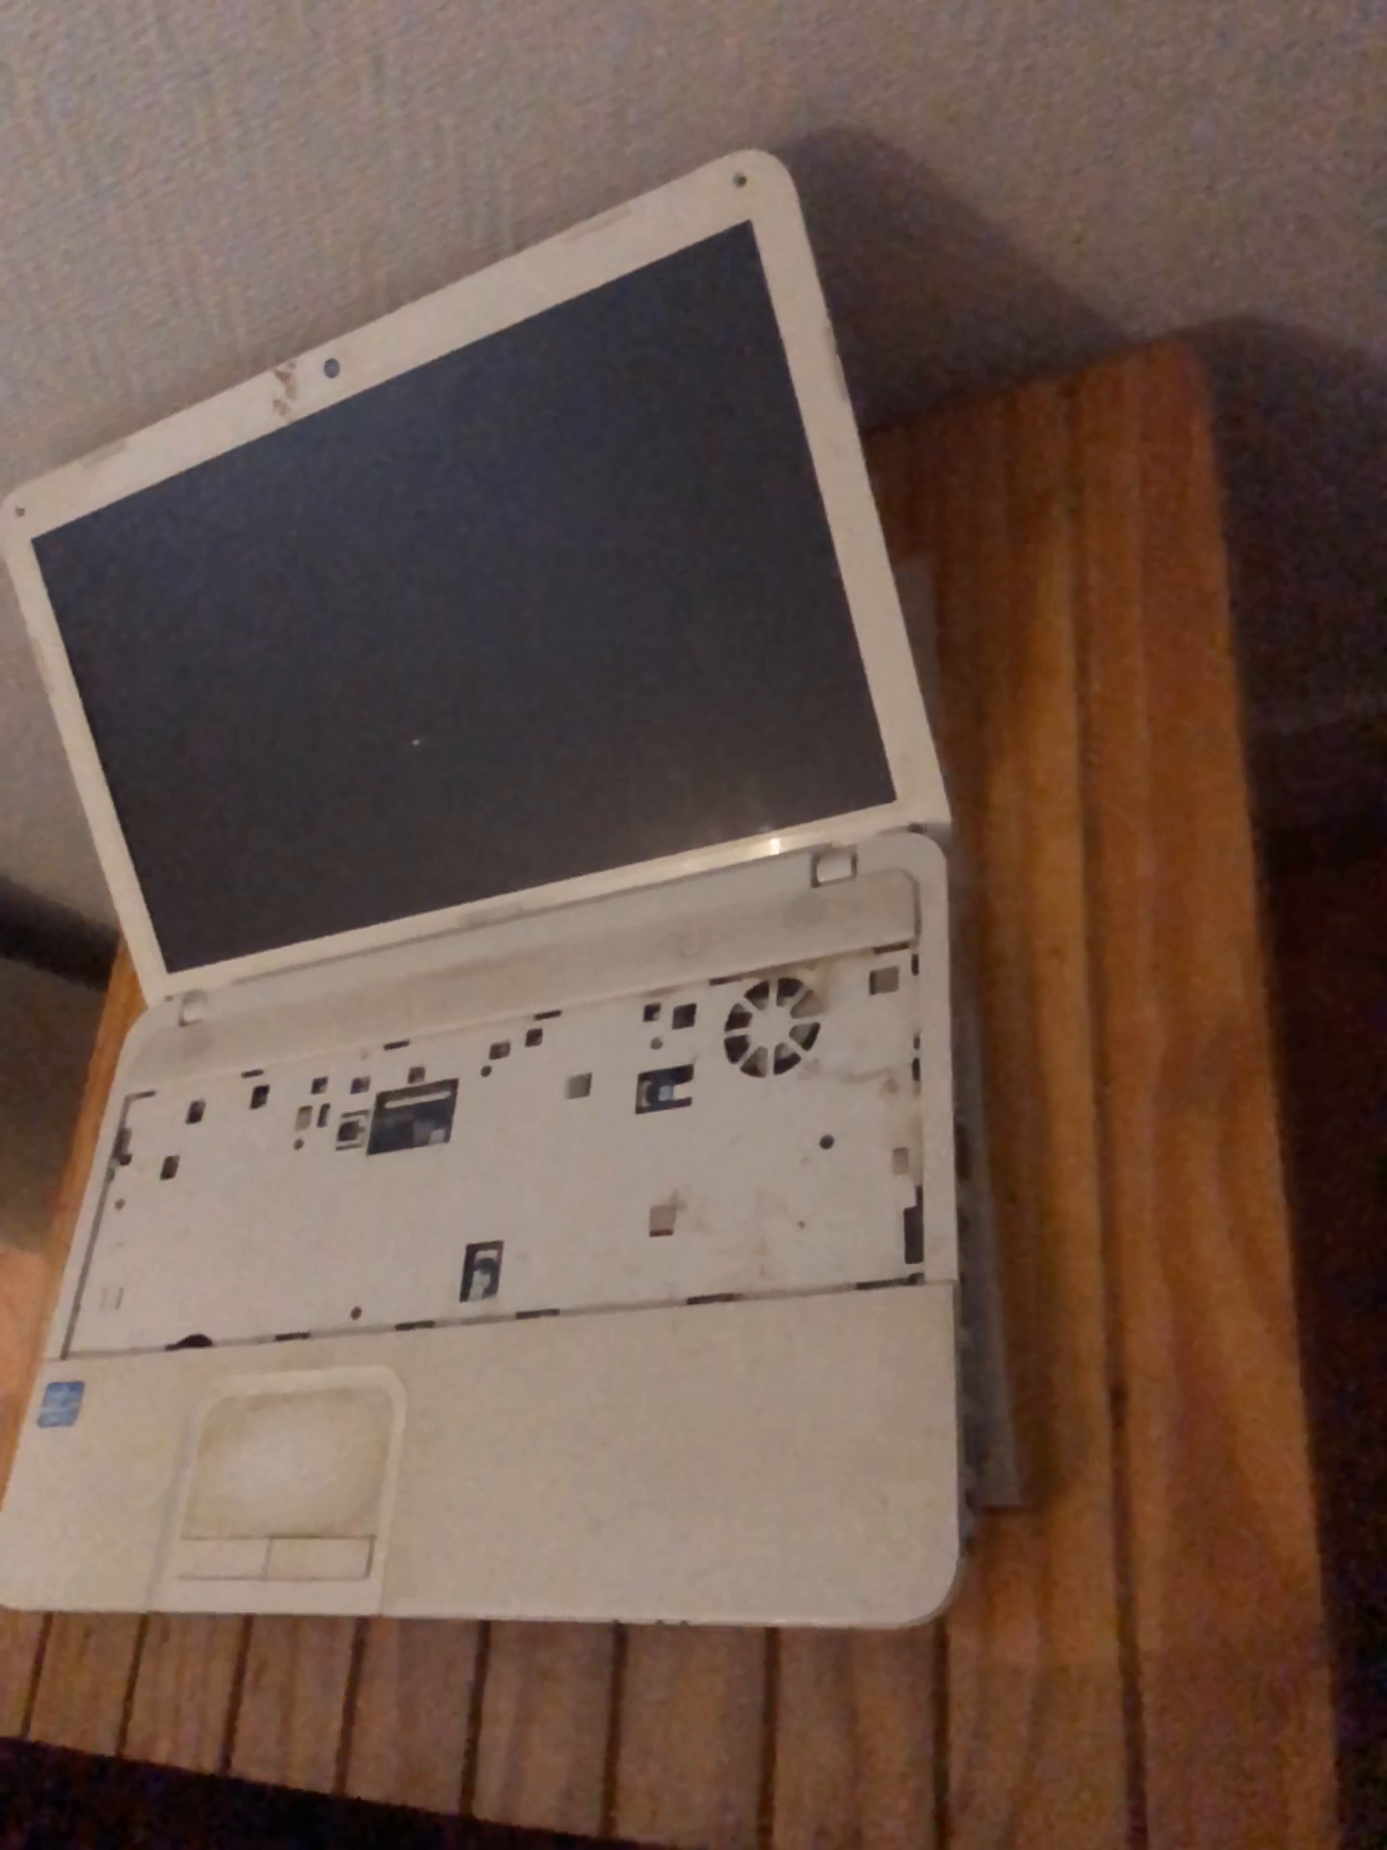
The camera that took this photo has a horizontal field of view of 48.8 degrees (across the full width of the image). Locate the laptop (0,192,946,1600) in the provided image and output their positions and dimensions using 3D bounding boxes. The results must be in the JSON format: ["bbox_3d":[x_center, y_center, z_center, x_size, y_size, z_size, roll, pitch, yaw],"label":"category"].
[{"bbox_3d":[-0.113,0.002,0.533,0.372,0.118,0.419,-13,58,28],"label":"laptop"}]
